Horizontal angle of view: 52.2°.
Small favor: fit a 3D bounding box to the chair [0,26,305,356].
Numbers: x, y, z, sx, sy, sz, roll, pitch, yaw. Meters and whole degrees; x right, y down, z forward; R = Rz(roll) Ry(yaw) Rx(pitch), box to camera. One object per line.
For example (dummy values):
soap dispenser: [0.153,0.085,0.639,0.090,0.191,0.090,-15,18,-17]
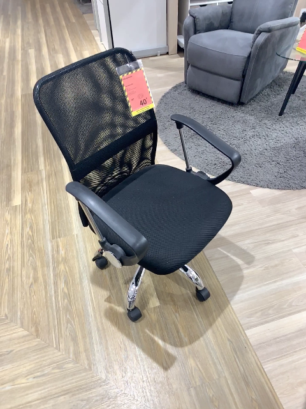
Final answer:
chair: [0.017,-0.054,1.169,0.602,0.866,0.642,32,54,30]
